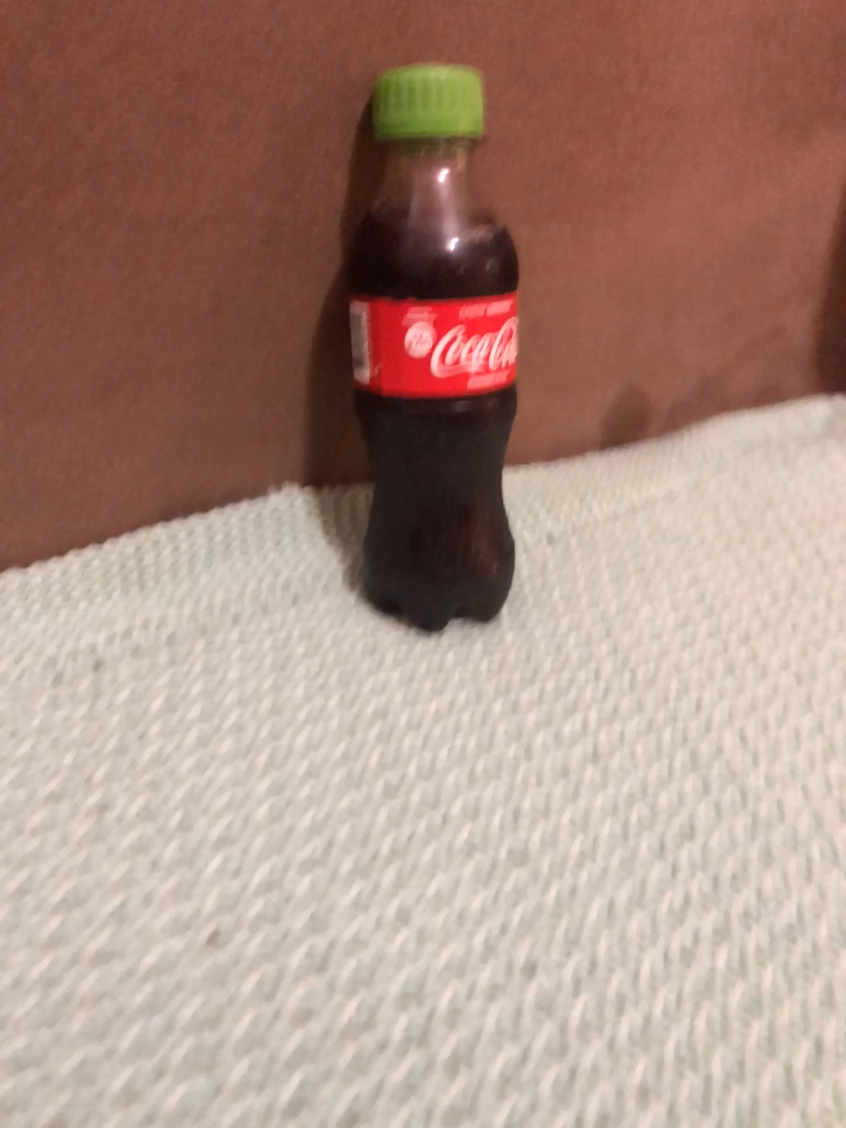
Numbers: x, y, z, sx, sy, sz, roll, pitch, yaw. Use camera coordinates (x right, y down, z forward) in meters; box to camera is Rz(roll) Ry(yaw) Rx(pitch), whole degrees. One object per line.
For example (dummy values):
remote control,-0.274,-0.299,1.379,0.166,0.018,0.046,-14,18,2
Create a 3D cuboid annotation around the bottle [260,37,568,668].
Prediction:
bottle,-0.003,-0.063,0.294,0.060,0.169,0.060,0,23,0
